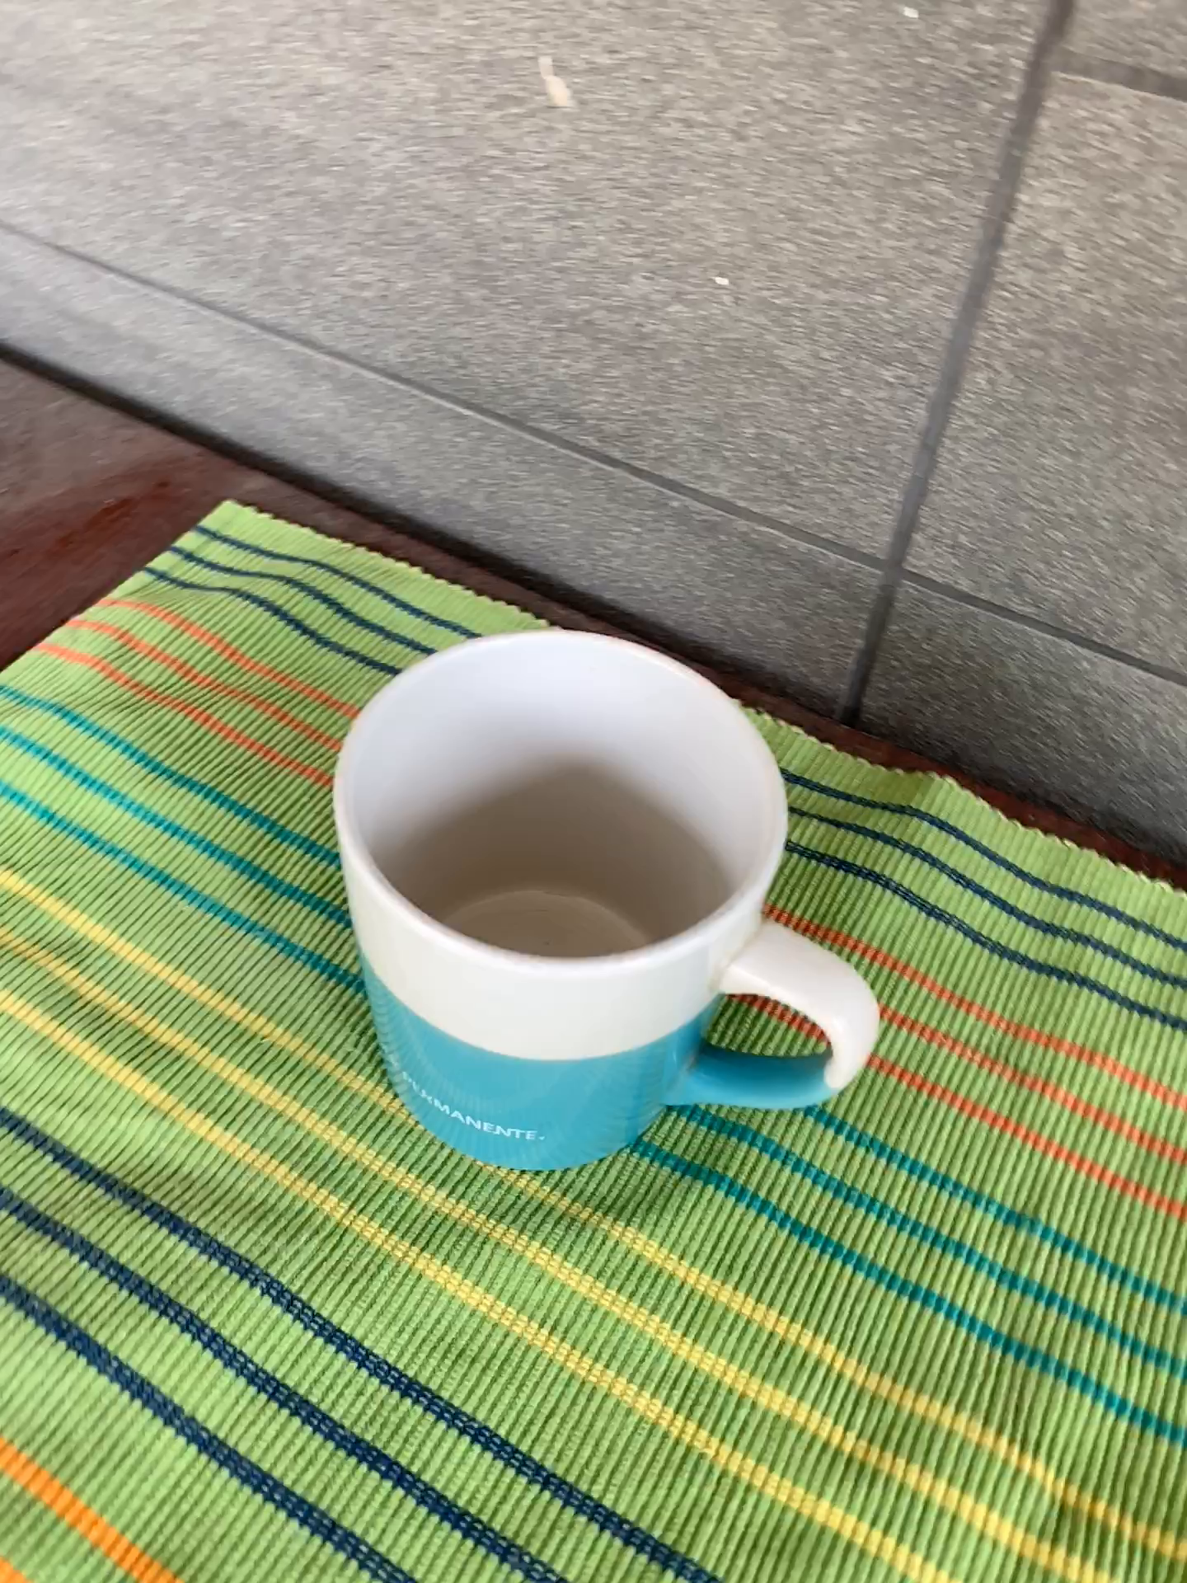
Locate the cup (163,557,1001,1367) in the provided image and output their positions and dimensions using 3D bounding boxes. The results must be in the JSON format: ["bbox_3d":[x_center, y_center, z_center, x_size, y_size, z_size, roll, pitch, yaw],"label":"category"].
[{"bbox_3d":[-0.002,0.035,0.285,0.140,0.100,0.100,24,49,16],"label":"cup"}]
